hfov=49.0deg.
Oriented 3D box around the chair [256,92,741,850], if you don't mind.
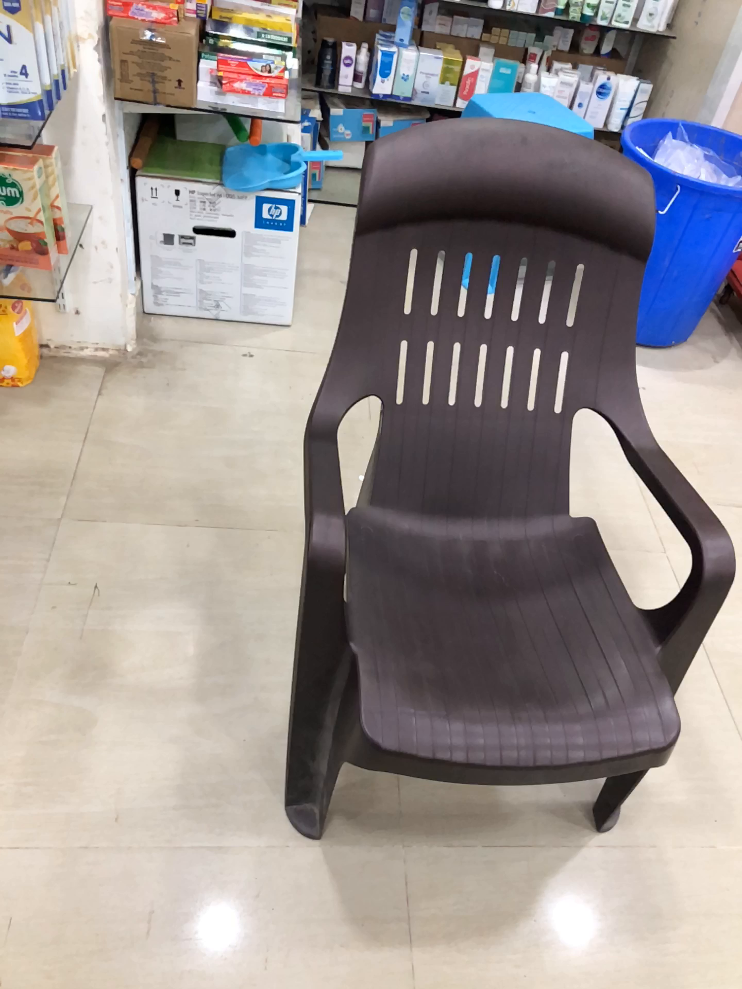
[{"bbox_3d":[0.175,0.001,1.213,0.631,0.844,0.684,3,44,-9],"label":"chair"}]
